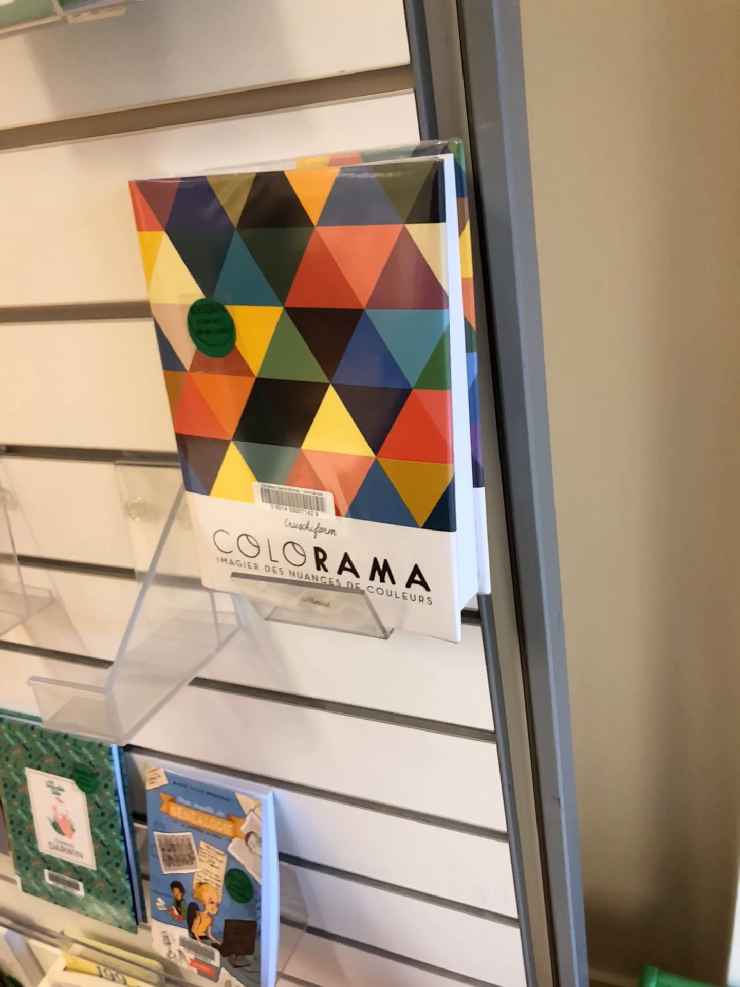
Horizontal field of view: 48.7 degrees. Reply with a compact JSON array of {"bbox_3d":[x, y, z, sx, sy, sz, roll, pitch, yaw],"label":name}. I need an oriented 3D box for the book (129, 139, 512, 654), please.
[{"bbox_3d":[-0.020,-0.046,0.416,0.170,0.231,0.046,7,26,29],"label":"book"}]
